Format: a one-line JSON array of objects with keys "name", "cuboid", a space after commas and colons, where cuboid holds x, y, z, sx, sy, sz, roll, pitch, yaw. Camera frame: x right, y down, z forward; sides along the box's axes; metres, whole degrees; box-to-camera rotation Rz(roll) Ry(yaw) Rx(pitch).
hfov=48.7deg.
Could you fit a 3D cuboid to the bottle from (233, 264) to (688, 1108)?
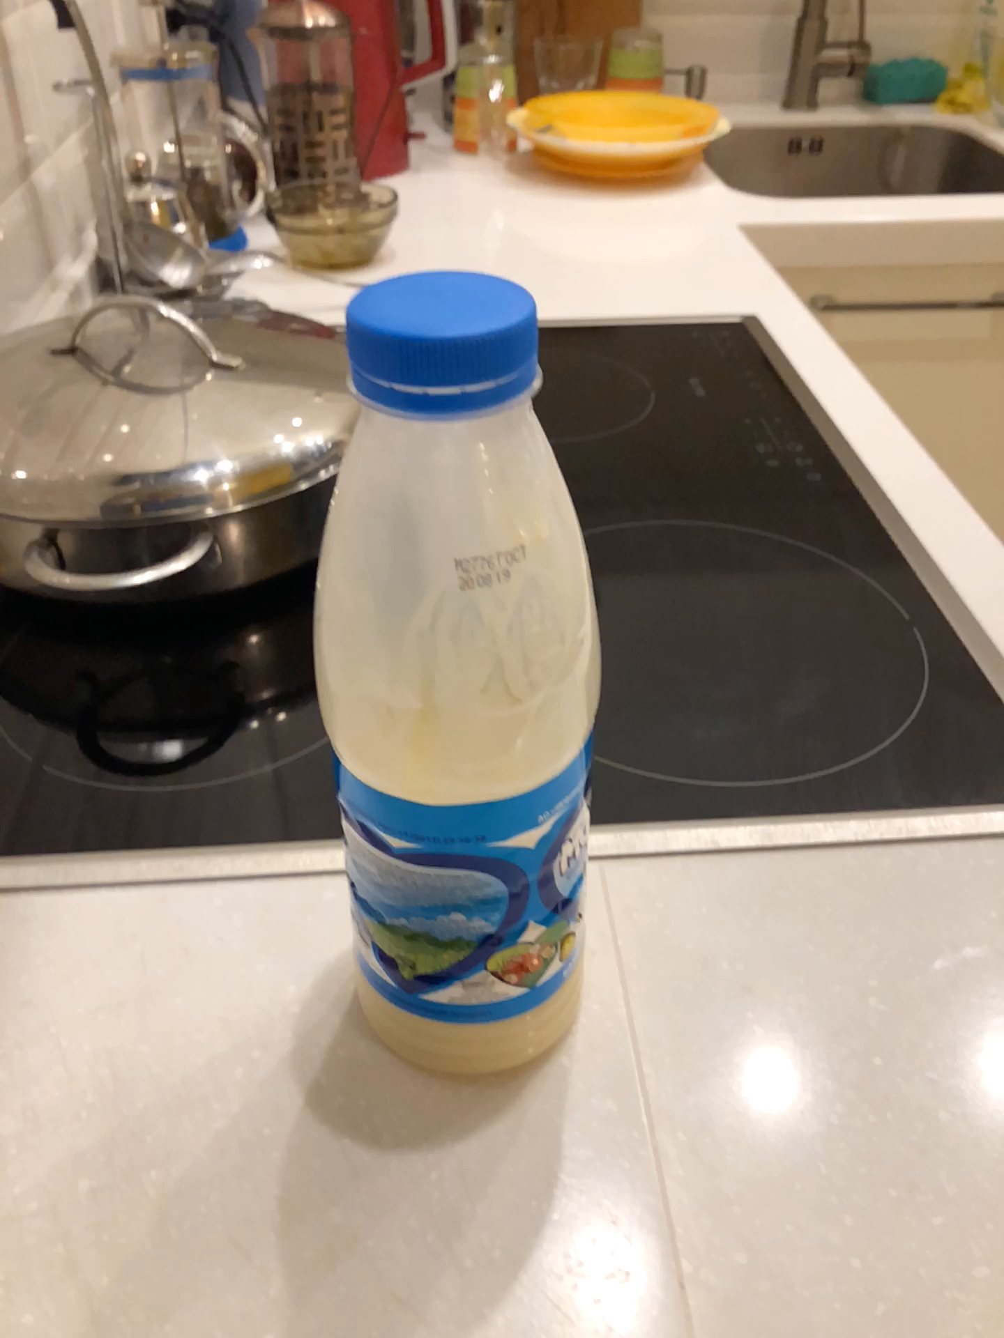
[{"name": "bottle", "cuboid": [-0.010, 0.016, 0.291, 0.080, 0.213, 0.081, 0, 37, 0]}]
